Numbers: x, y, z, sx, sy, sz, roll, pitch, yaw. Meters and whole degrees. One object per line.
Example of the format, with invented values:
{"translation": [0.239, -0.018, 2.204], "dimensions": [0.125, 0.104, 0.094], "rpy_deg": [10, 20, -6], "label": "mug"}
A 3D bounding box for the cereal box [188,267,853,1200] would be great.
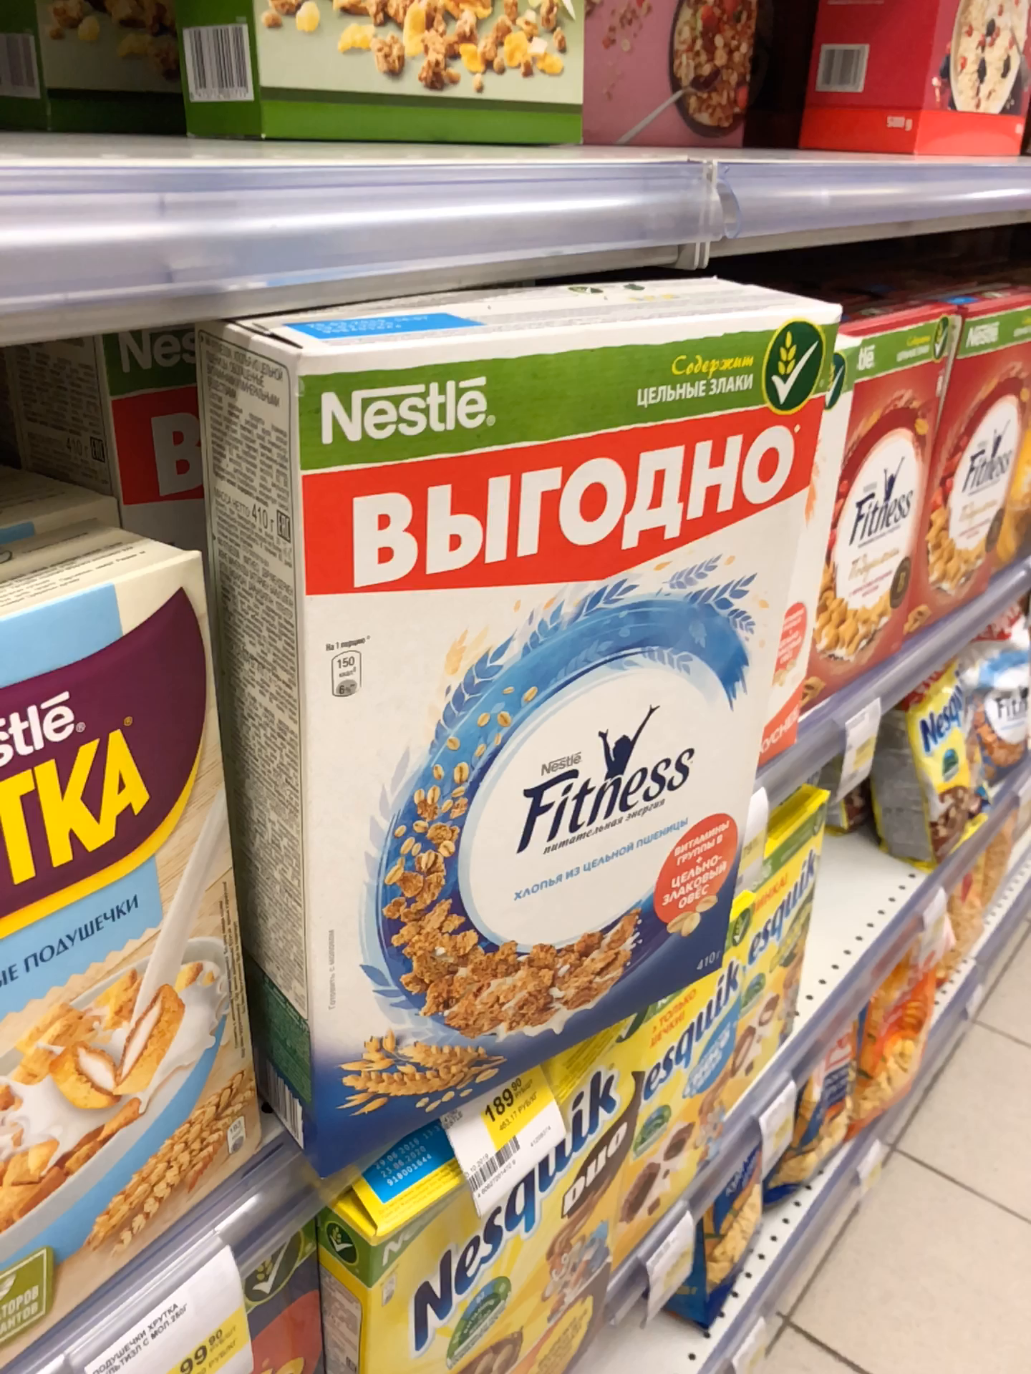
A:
{"translation": [0.002, 0.012, 0.401], "dimensions": [0.200, 0.288, 0.060], "rpy_deg": [-16, 34, -34], "label": "cereal box"}
